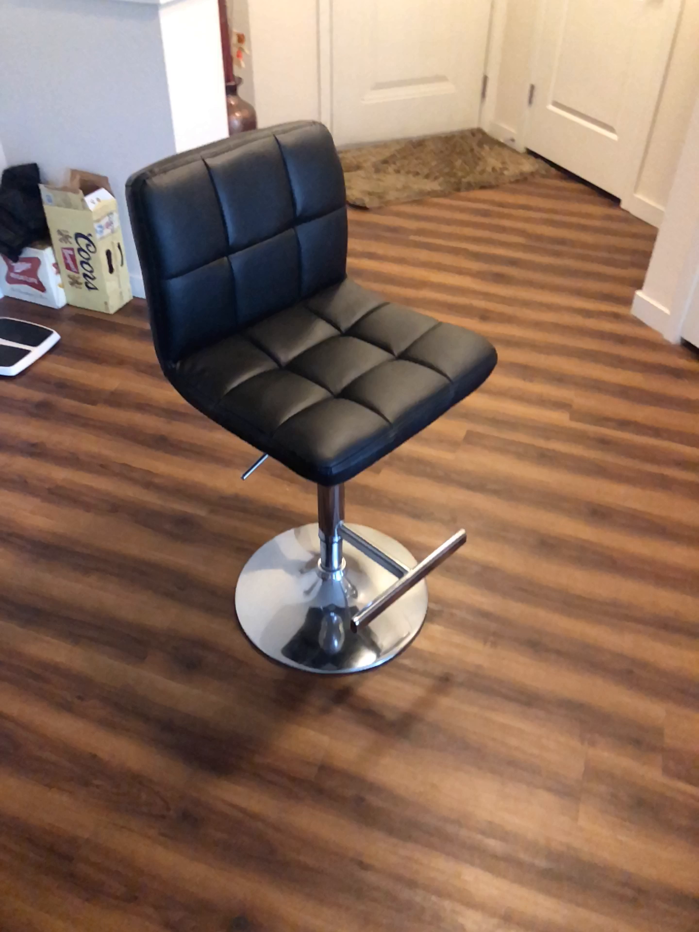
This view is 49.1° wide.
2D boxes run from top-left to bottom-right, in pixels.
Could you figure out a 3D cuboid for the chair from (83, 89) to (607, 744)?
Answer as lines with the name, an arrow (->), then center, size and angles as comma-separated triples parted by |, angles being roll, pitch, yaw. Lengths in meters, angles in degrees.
chair -> -0.013, -0.092, 1.441 | 0.569, 0.952, 0.536 | 32, 49, 32
